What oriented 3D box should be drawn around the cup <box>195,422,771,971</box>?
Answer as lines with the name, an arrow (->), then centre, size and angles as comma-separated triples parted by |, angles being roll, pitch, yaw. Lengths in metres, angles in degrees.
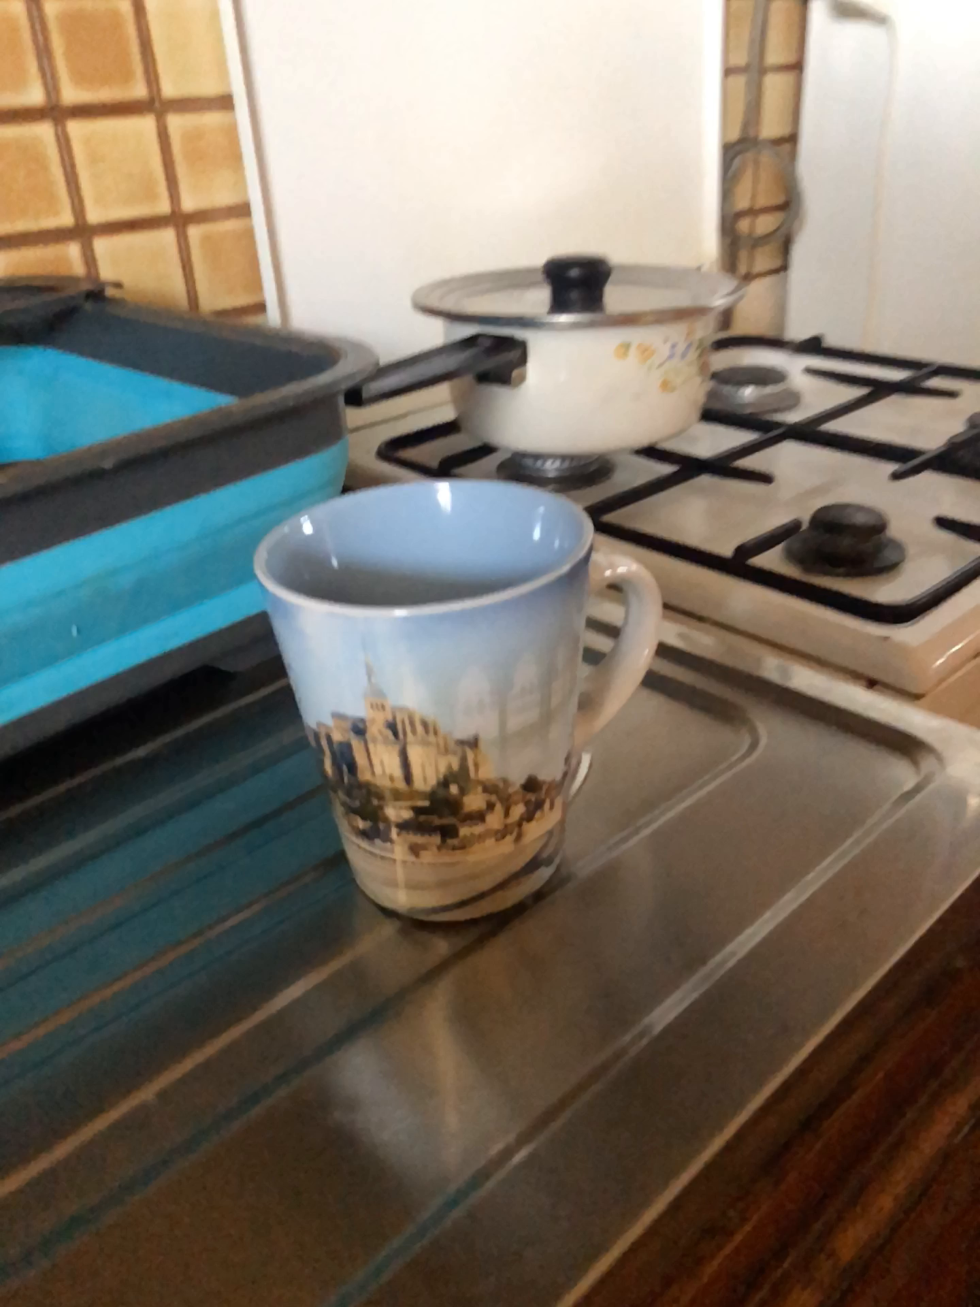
cup -> -0.001, 0.001, 0.328 | 0.131, 0.099, 0.100 | -21, 32, -31
